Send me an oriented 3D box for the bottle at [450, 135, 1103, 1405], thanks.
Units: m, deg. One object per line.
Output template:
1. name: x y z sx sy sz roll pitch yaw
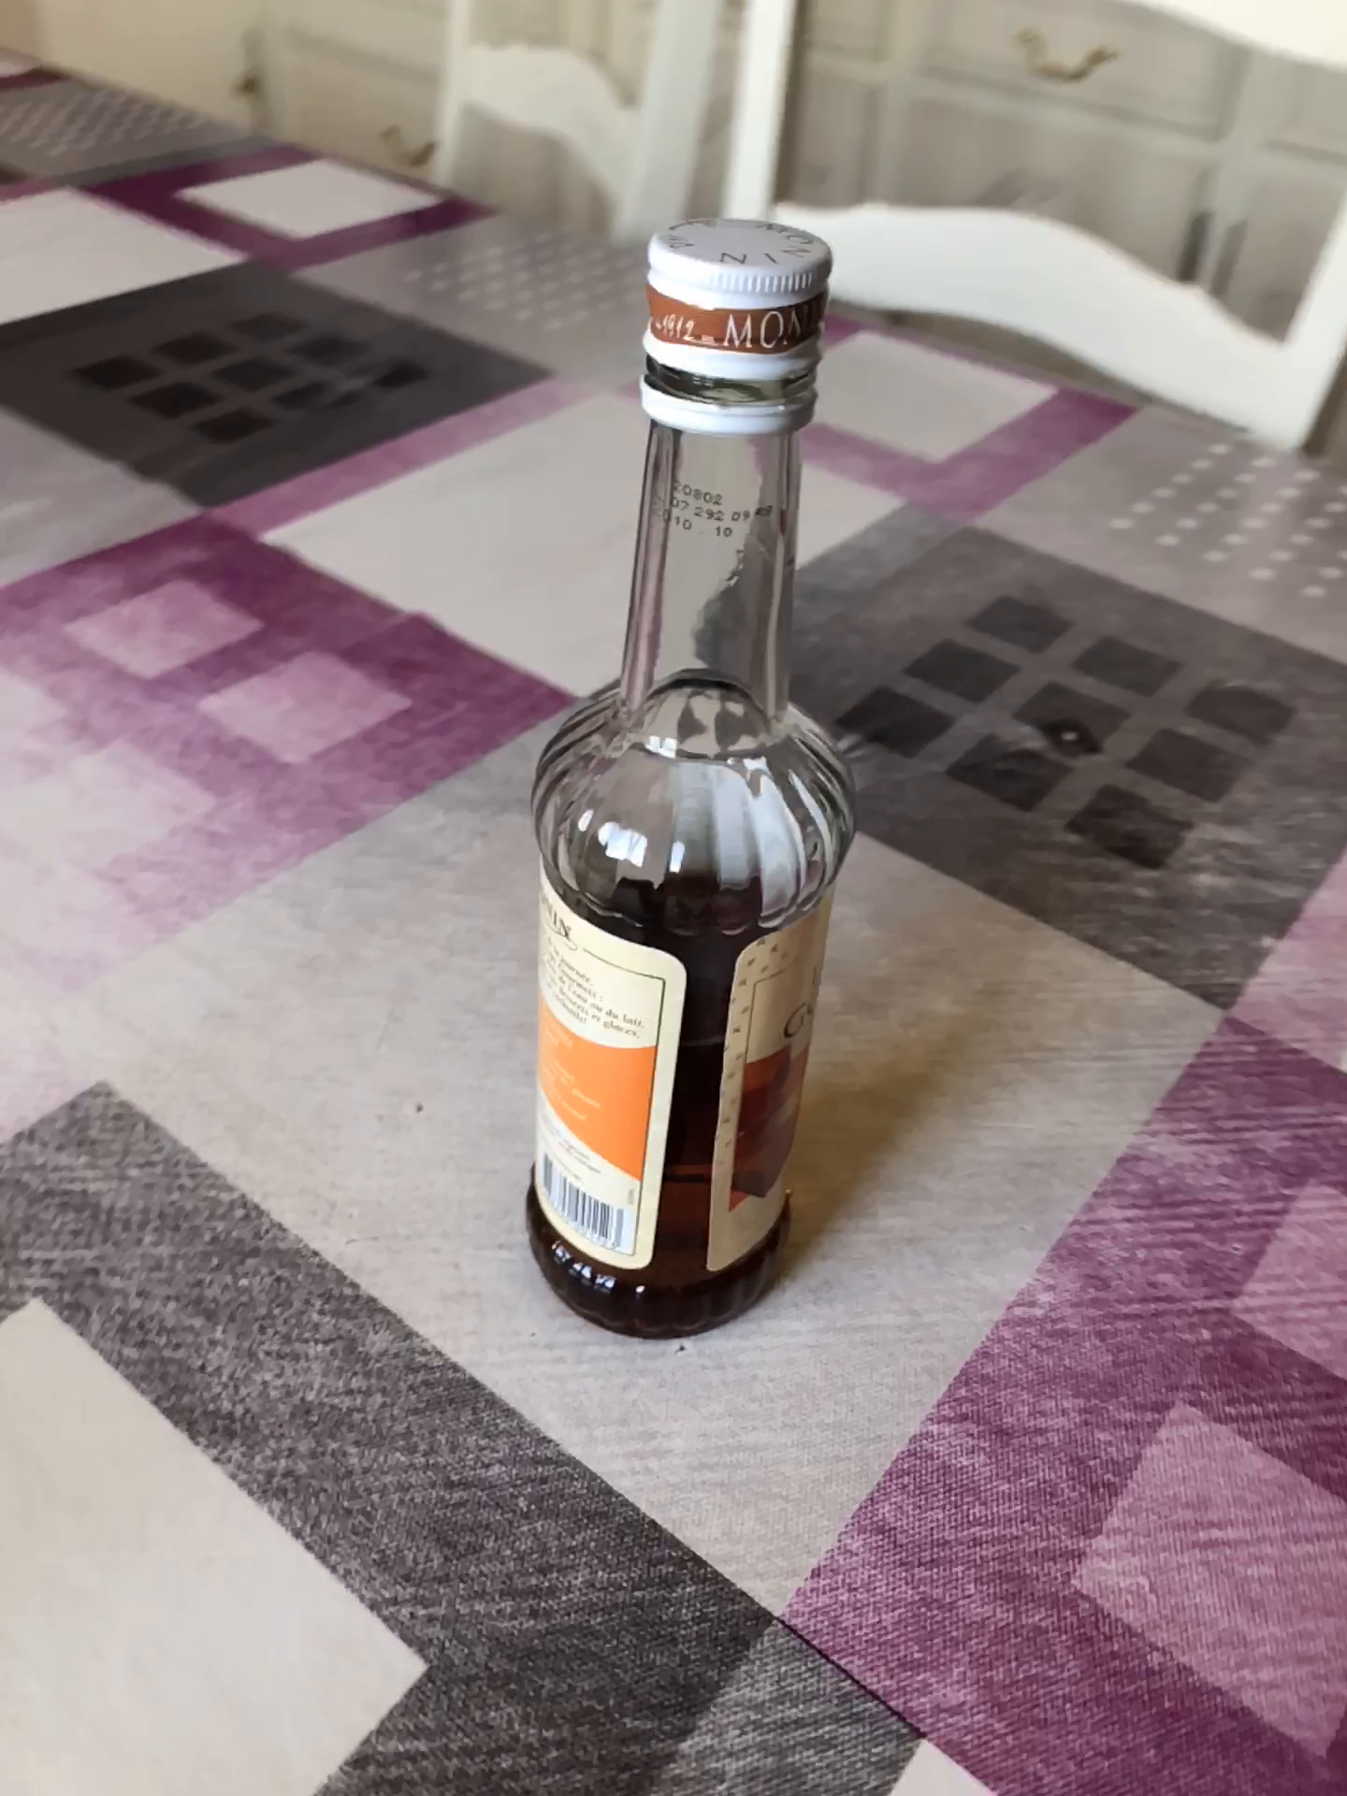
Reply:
1. bottle: 0.006 -0.009 0.294 0.070 0.238 0.070 3 39 -2
